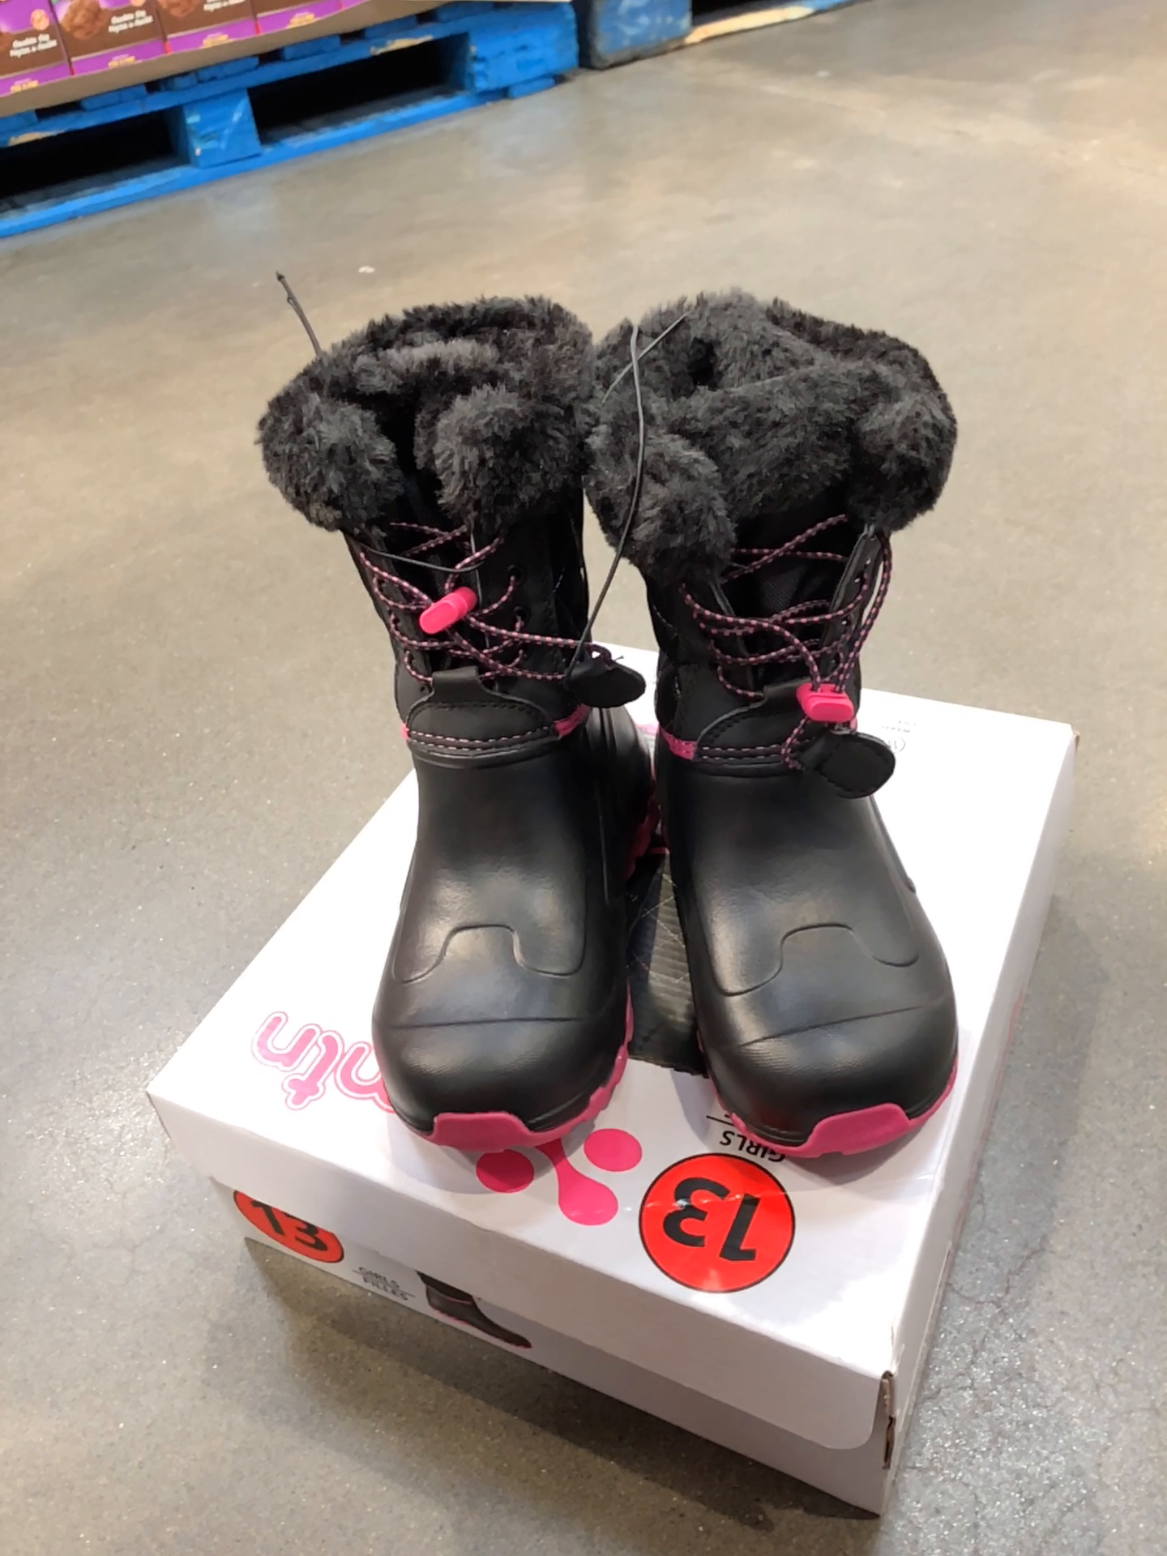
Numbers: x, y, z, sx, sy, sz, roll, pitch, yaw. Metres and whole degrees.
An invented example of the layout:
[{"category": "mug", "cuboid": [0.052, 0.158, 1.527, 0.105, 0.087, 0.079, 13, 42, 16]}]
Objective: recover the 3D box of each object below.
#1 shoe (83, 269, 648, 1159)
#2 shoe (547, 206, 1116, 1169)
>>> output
[{"category": "shoe", "cuboid": [-0.043, -0.026, 0.443, 0.110, 0.209, 0.221, -2, 40, 7]}, {"category": "shoe", "cuboid": [0.063, -0.035, 0.440, 0.110, 0.229, 0.221, -8, 40, 0]}]
